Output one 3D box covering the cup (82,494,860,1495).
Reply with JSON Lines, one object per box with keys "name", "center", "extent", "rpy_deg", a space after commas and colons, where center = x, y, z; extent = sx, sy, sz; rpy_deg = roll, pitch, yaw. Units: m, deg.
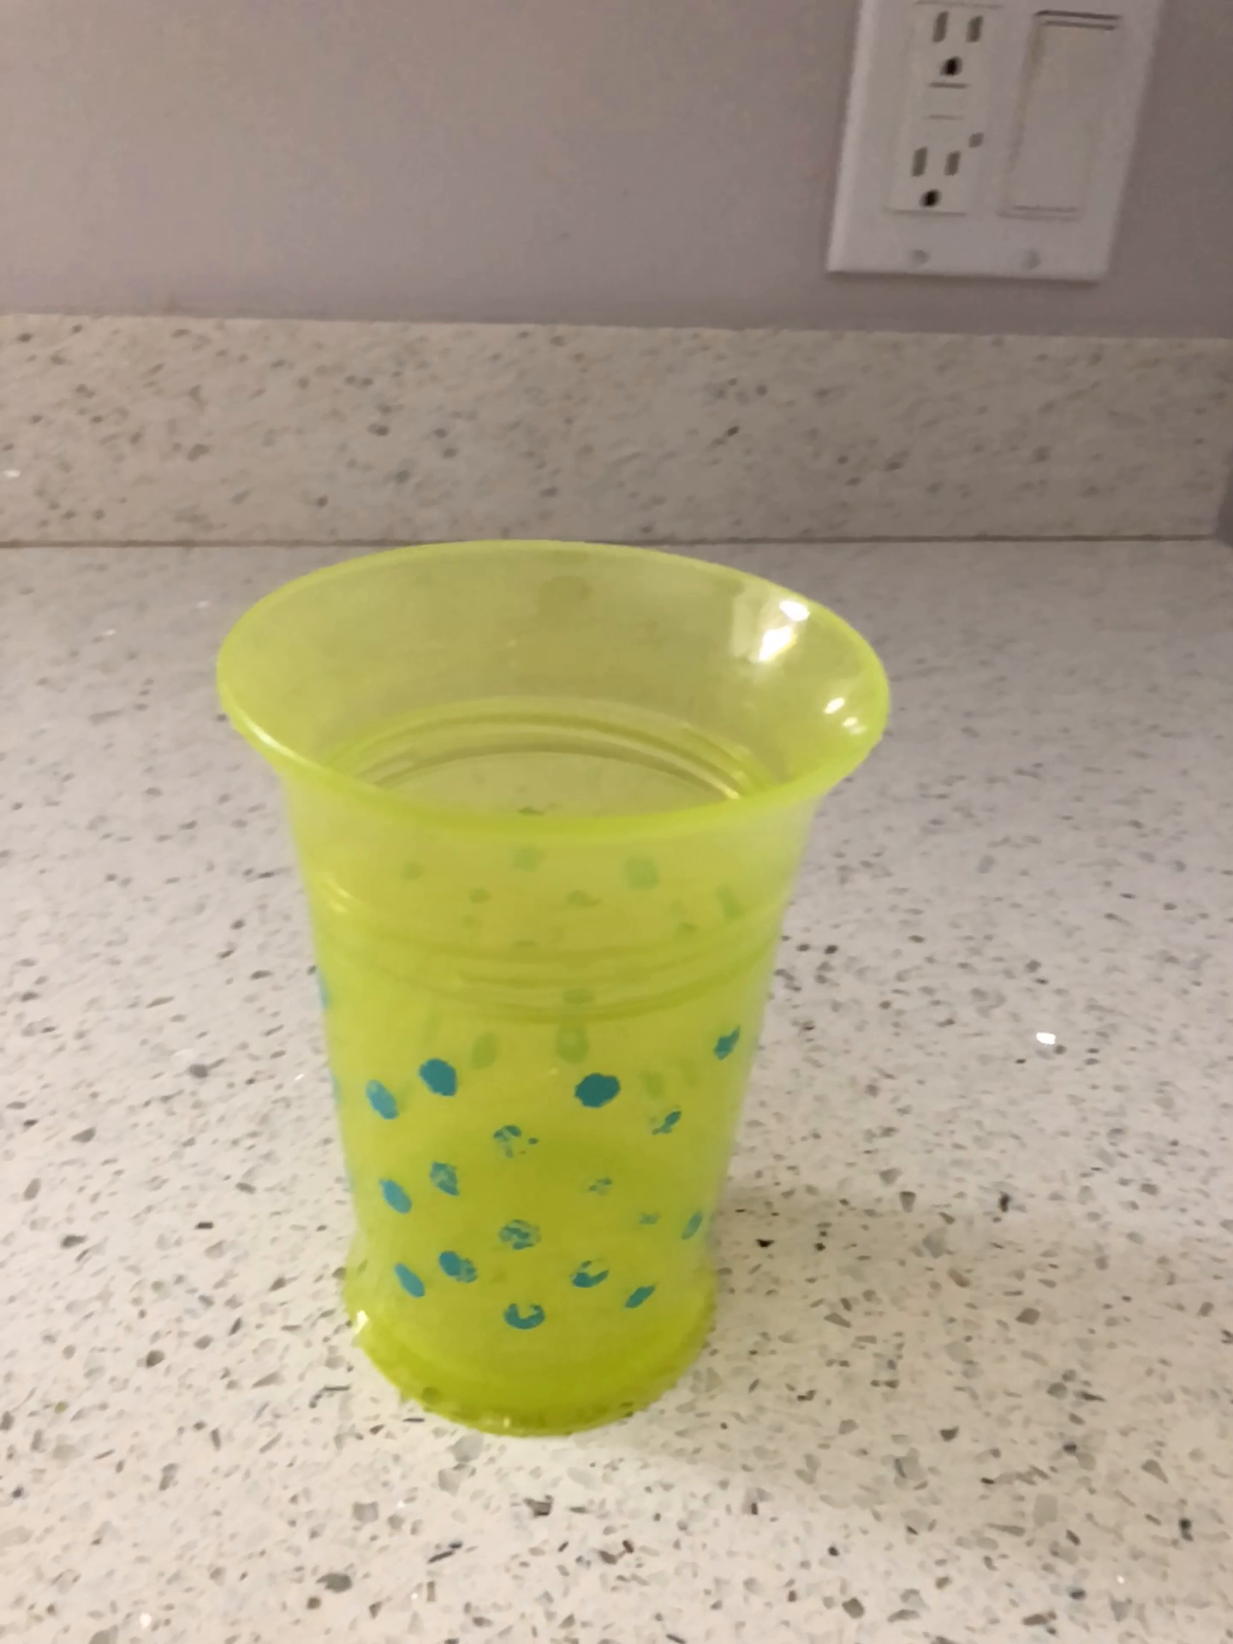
{"name": "cup", "center": [-0.014, 0.022, 0.196], "extent": [0.078, 0.109, 0.073], "rpy_deg": [3, 31, -2]}
